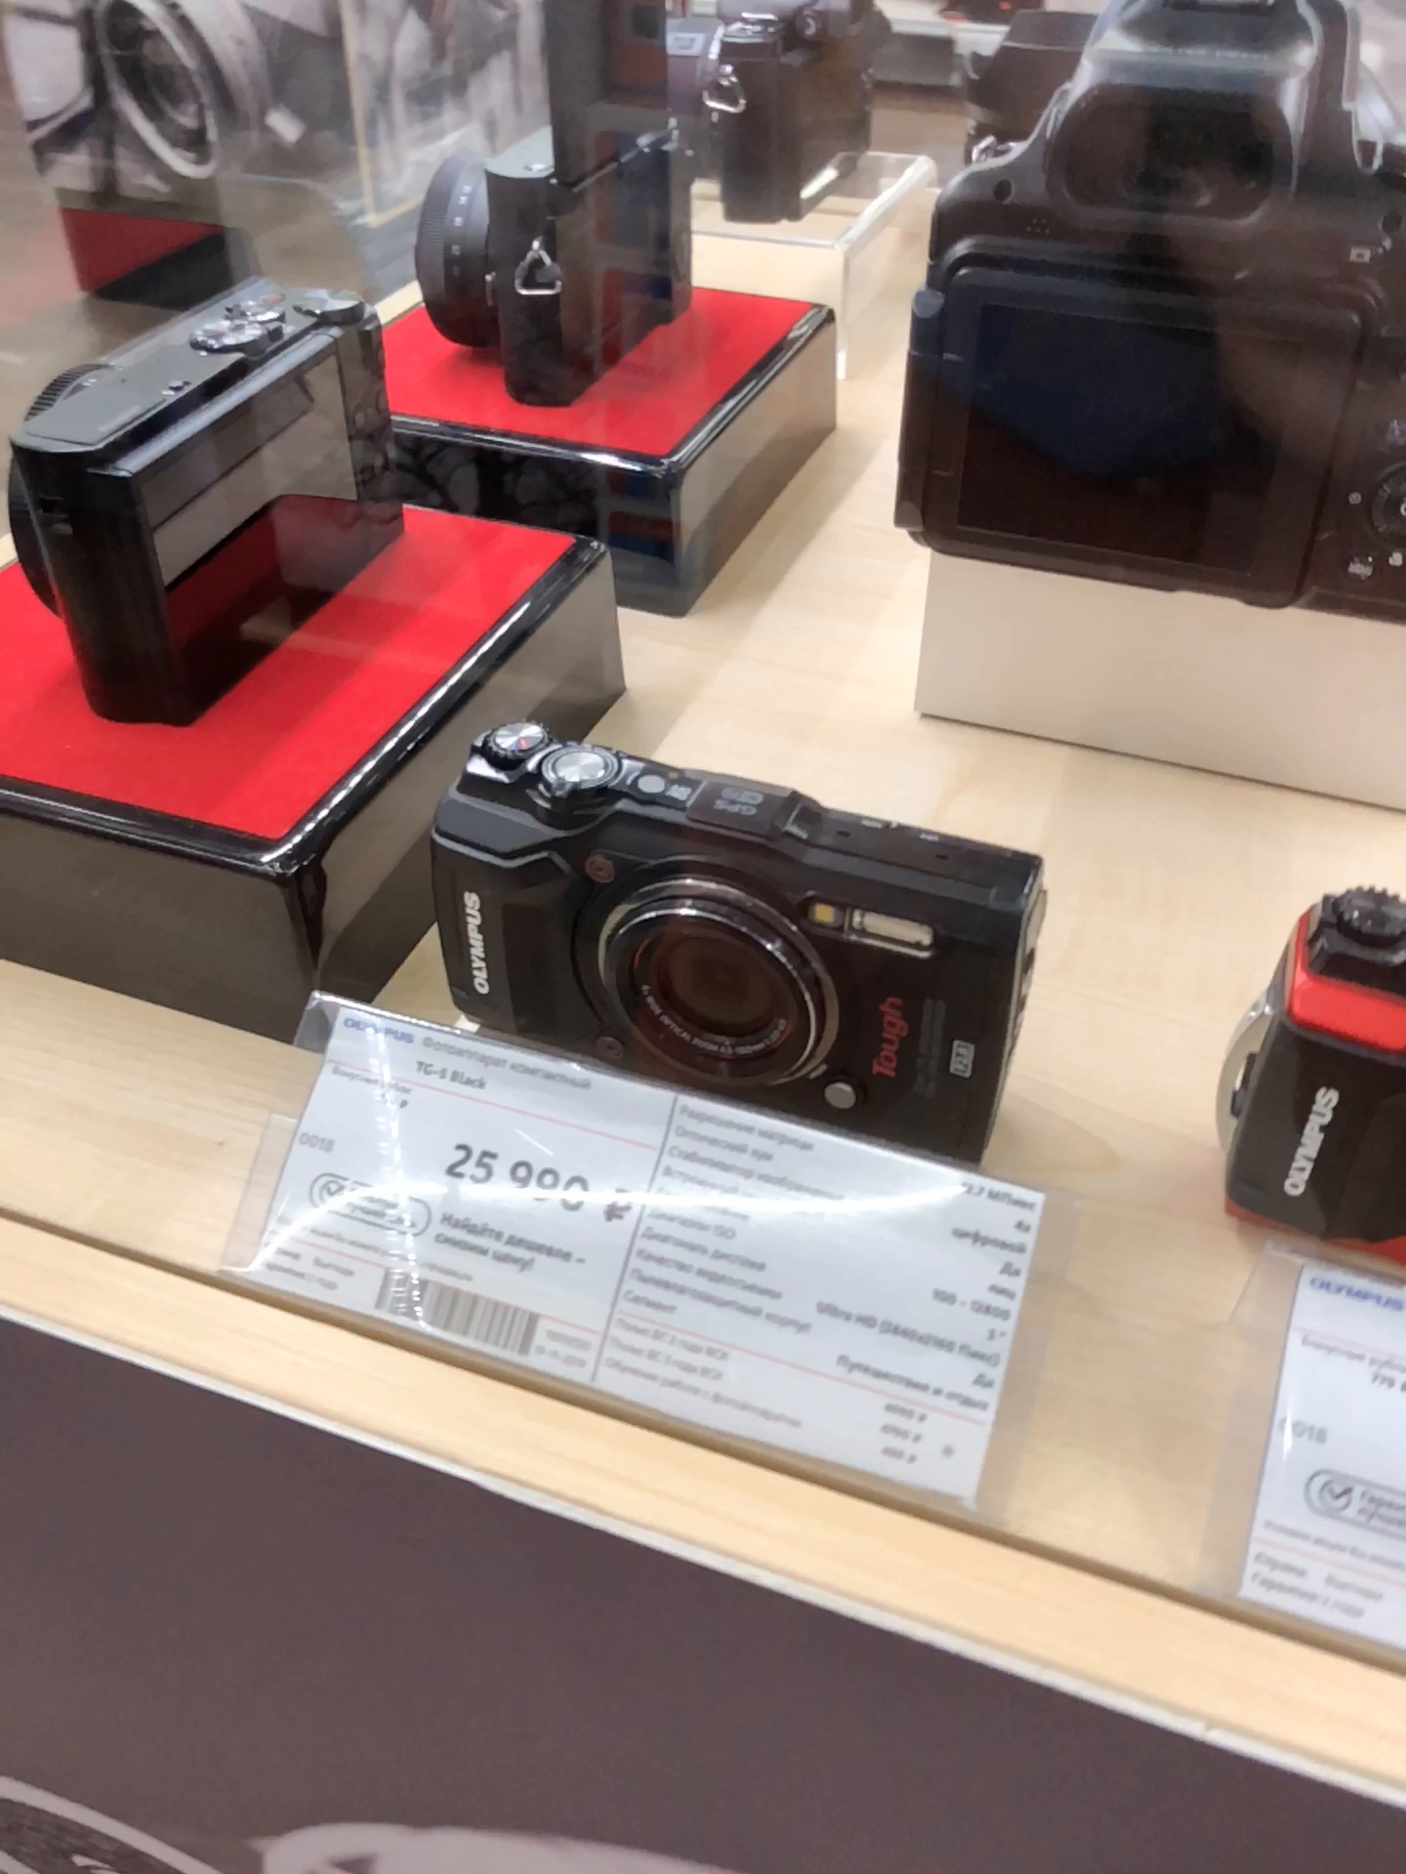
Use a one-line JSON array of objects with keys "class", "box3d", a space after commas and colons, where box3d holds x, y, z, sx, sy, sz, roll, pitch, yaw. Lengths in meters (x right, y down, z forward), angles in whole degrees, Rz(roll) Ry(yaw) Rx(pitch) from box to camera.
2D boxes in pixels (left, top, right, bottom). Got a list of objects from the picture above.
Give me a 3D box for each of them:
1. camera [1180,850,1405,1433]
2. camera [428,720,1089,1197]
[{"class": "camera", "box3d": [0.145, 0.031, 0.251, 0.116, 0.060, 0.030, 15, 41, 17]}, {"class": "camera", "box3d": [0.009, 0.003, 0.299, 0.116, 0.060, 0.030, 15, 41, 17]}]
